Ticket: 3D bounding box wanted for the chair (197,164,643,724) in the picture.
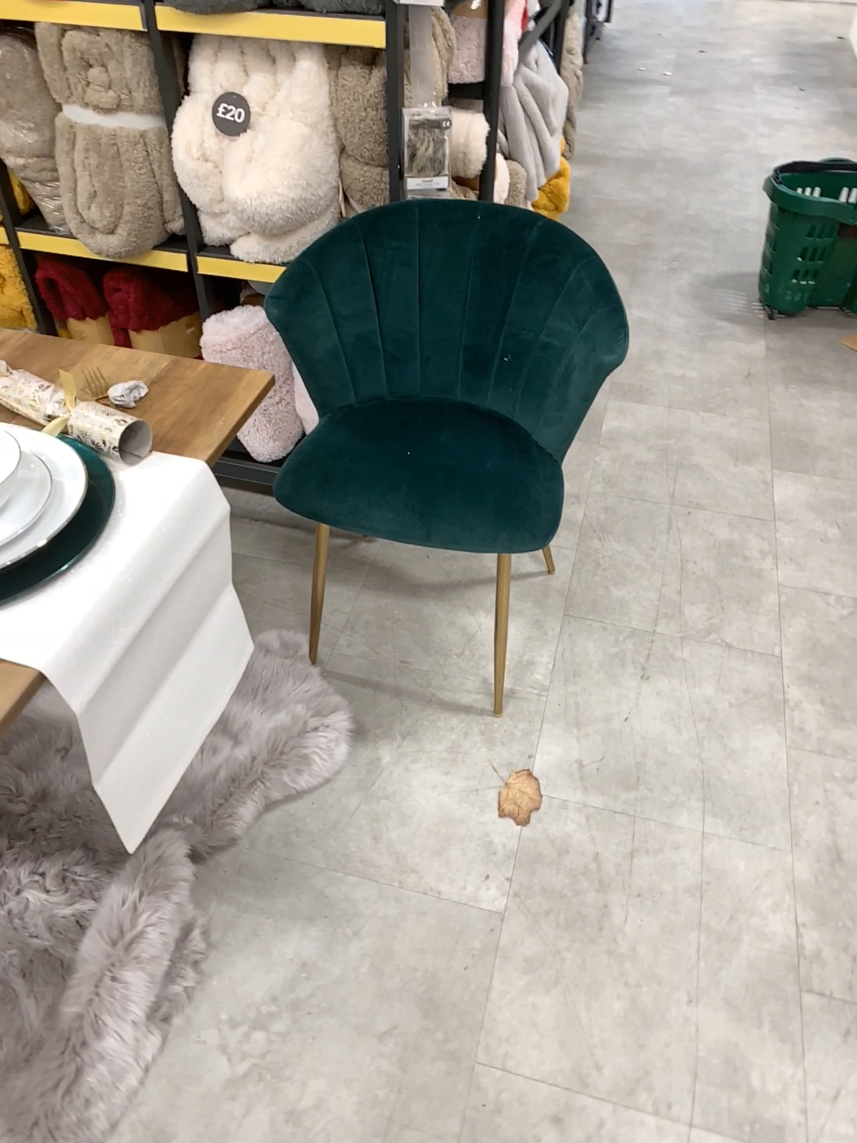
[{"bbox_3d":[0.018,-0.228,1.569,0.540,0.753,0.529,12,44,13],"label":"chair"}]
